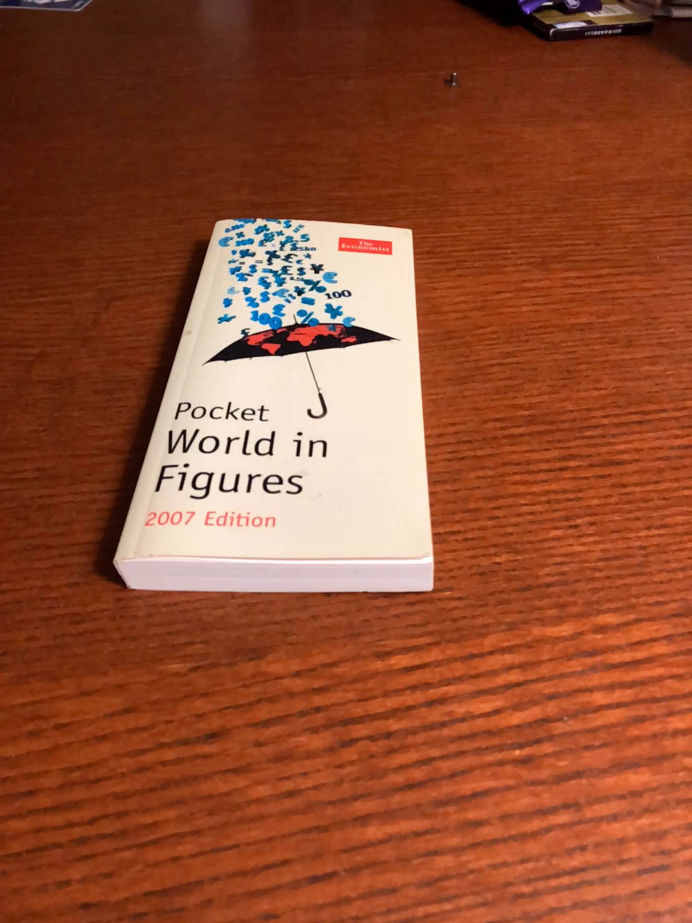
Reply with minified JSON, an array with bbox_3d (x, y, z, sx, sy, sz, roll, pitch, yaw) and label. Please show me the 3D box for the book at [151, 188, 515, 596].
[{"bbox_3d":[-0.001,-0.043,0.292,0.100,0.030,0.201,2,45,1],"label":"book"}]
